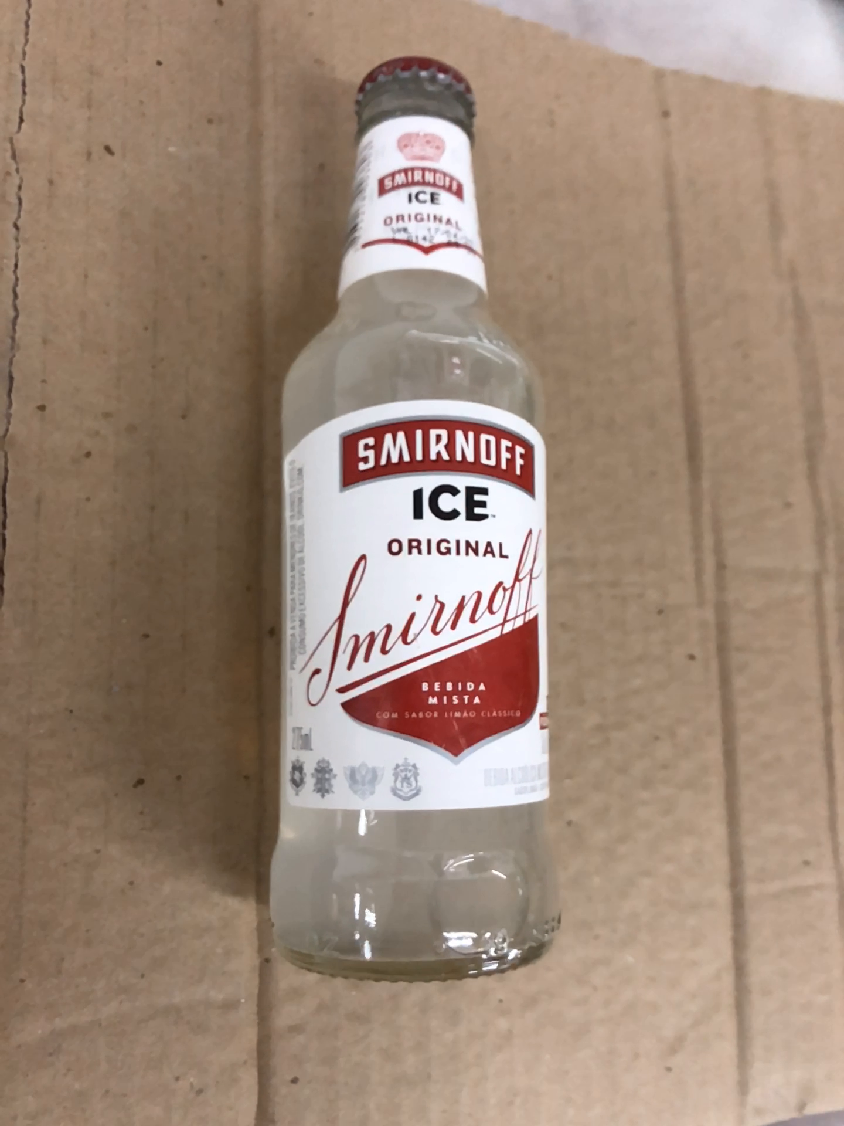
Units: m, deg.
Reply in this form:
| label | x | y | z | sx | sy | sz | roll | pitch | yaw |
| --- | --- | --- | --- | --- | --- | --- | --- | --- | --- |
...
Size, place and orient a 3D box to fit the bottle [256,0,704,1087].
| label | x | y | z | sx | sy | sz | roll | pitch | yaw |
| --- | --- | --- | --- | --- | --- | --- | --- | --- | --- |
| bottle | 0.009 | -0.020 | 0.197 | 0.070 | 0.050 | 0.210 | 4 | 81 | -27 |
